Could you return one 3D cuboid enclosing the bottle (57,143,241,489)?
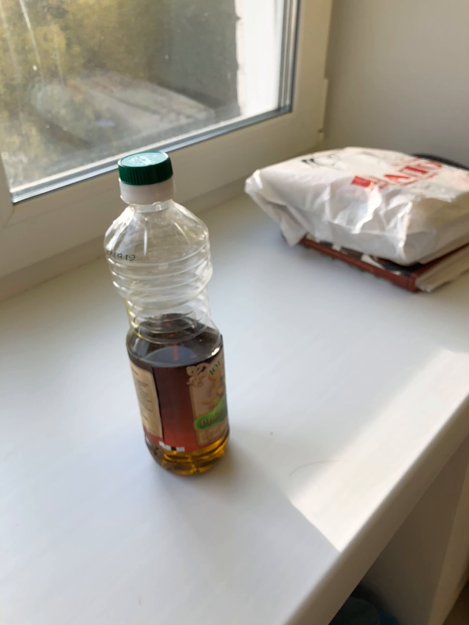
[{"bbox_3d":[-0.044,0.010,0.343,0.067,0.218,0.061,11,35,22],"label":"bottle"}]
